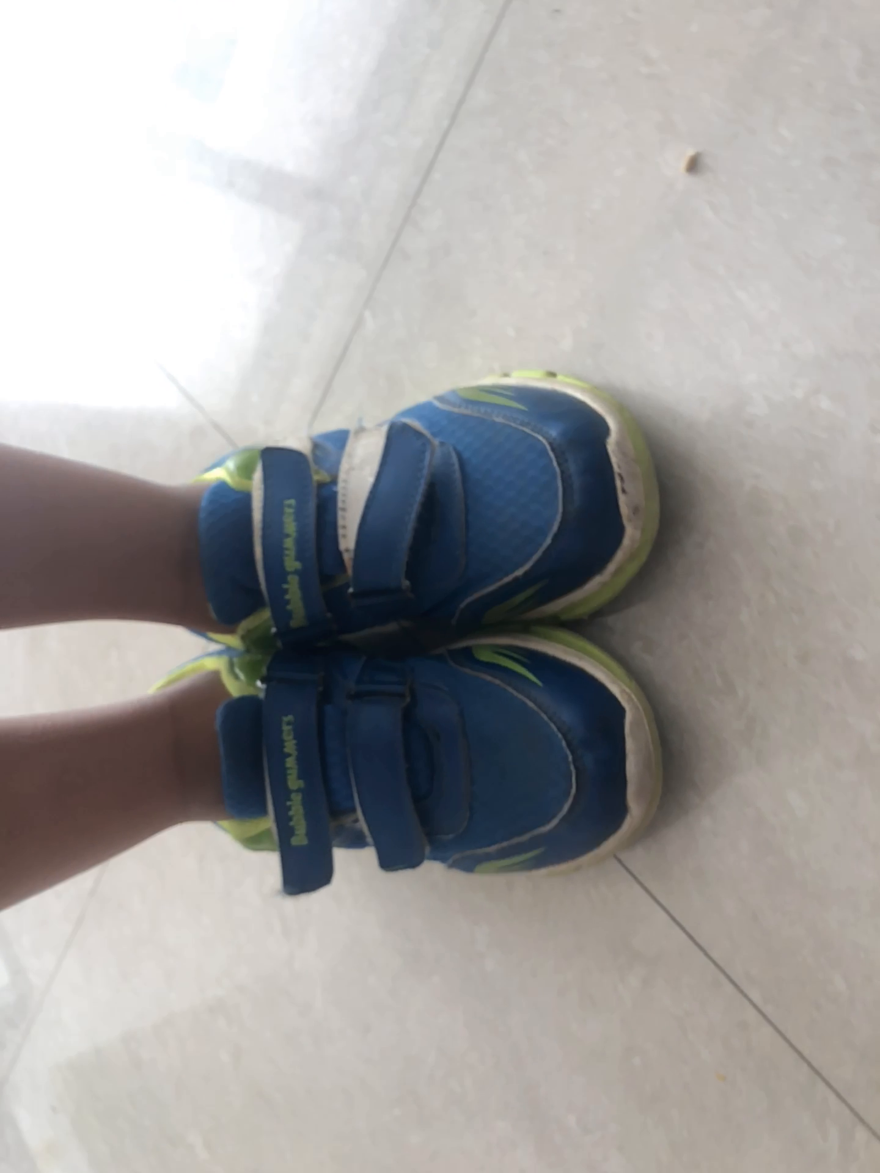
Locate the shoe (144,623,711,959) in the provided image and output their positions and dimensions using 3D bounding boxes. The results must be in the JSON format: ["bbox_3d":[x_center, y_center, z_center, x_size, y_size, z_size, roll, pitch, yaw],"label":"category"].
[{"bbox_3d":[-0.019,0.067,0.369,0.221,0.060,0.090,-7,87,40],"label":"shoe"}]

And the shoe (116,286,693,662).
[{"bbox_3d":[-0.028,-0.026,0.360,0.221,0.060,0.090,-8,86,40],"label":"shoe"}]
